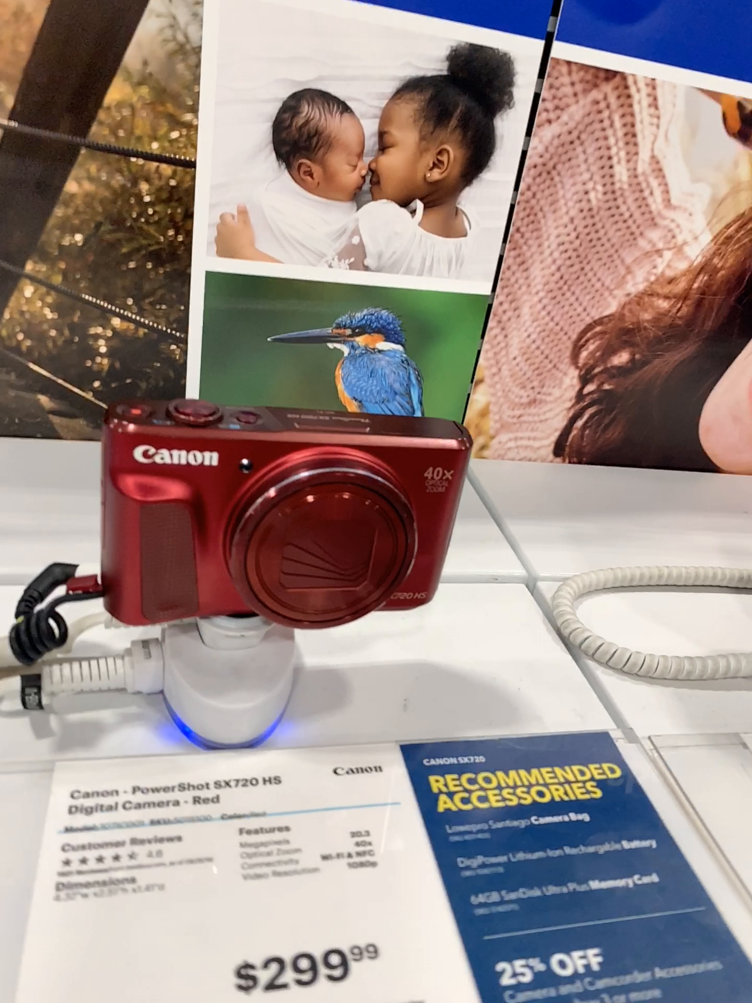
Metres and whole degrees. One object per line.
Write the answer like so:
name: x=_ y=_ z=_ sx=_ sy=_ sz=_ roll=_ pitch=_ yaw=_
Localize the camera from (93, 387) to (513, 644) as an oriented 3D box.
camera: x=-0.024 y=0.005 z=0.229 sx=0.110 sy=0.060 sz=0.037 roll=2 pitch=27 yaw=-18
